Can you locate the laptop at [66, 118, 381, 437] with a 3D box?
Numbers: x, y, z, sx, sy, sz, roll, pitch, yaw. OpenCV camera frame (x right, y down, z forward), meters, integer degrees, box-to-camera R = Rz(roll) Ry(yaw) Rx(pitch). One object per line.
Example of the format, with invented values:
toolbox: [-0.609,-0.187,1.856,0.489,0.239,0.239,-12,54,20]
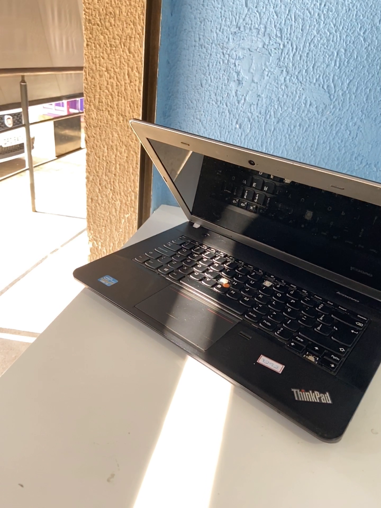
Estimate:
laptop: [0.065,-0.028,0.432,0.331,0.165,0.231,24,33,32]
